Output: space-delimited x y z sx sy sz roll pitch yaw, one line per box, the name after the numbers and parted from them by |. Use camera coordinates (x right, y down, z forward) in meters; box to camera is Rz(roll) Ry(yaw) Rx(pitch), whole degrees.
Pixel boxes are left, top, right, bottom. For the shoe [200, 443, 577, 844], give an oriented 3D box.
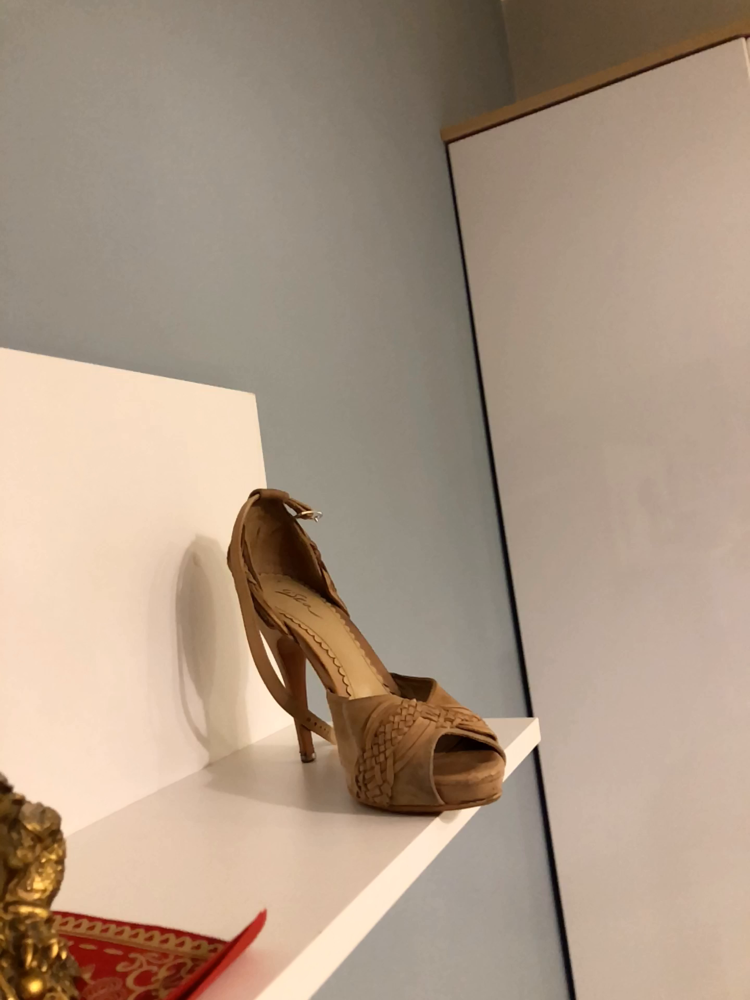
-0.007 0.075 0.492 0.100 0.180 0.210 -4 -5 -35 | shoe
